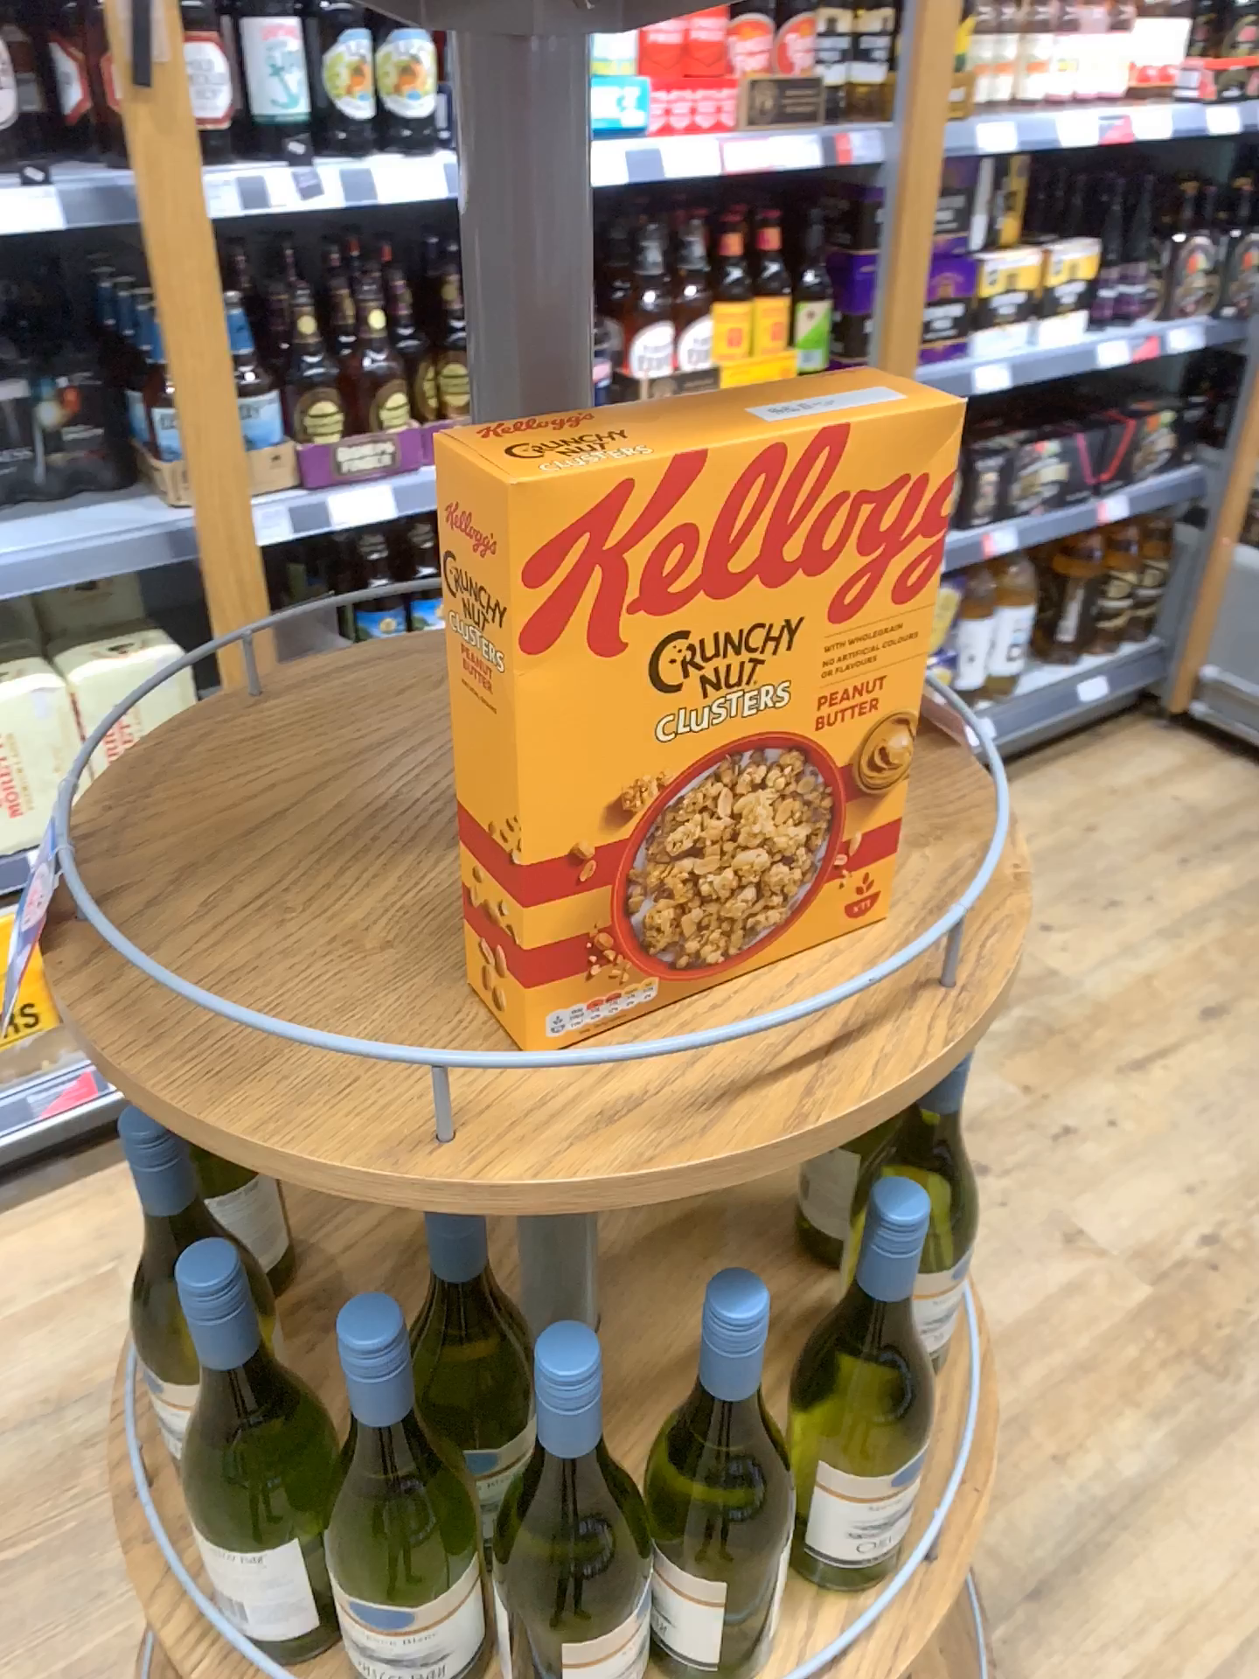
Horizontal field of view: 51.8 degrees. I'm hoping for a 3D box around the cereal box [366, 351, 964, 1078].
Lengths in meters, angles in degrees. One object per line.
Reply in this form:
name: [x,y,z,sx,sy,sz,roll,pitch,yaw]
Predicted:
cereal box: [0.017,-0.051,0.514,0.211,0.238,0.060,-19,38,-28]
